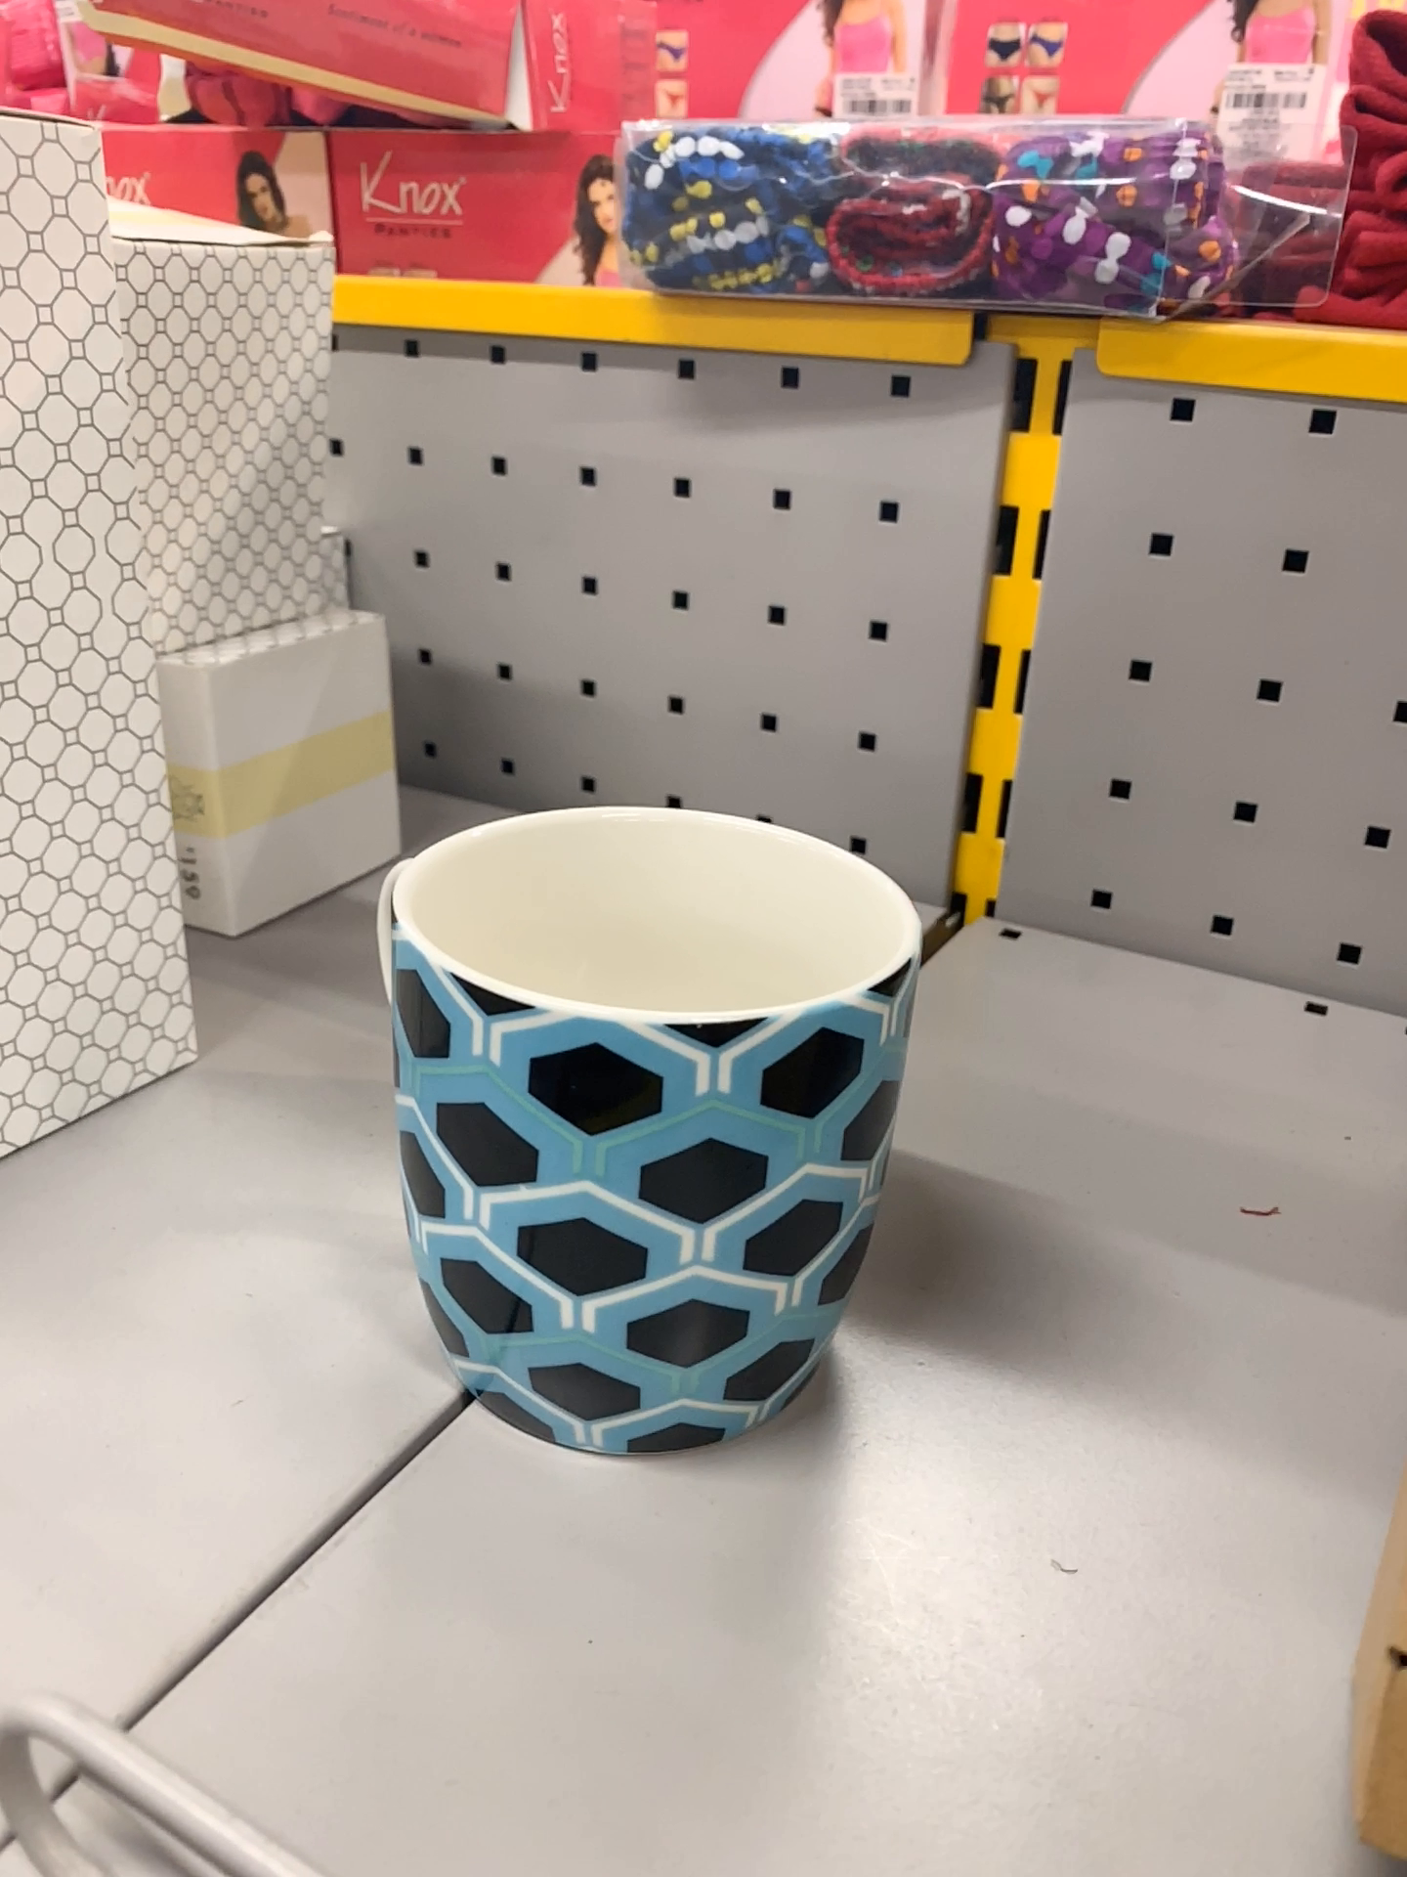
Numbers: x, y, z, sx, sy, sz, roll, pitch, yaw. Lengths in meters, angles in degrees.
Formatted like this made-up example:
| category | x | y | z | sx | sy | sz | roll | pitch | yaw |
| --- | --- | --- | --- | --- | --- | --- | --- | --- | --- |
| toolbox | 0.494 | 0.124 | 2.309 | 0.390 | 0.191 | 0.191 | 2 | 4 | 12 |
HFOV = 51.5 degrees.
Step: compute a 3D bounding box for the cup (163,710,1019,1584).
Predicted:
| category | x | y | z | sx | sy | sz | roll | pitch | yaw |
| --- | --- | --- | --- | --- | --- | --- | --- | --- | --- |
| cup | -0.025 | 0.023 | 0.265 | 0.090 | 0.090 | 0.120 | -18 | 32 | -38 |
